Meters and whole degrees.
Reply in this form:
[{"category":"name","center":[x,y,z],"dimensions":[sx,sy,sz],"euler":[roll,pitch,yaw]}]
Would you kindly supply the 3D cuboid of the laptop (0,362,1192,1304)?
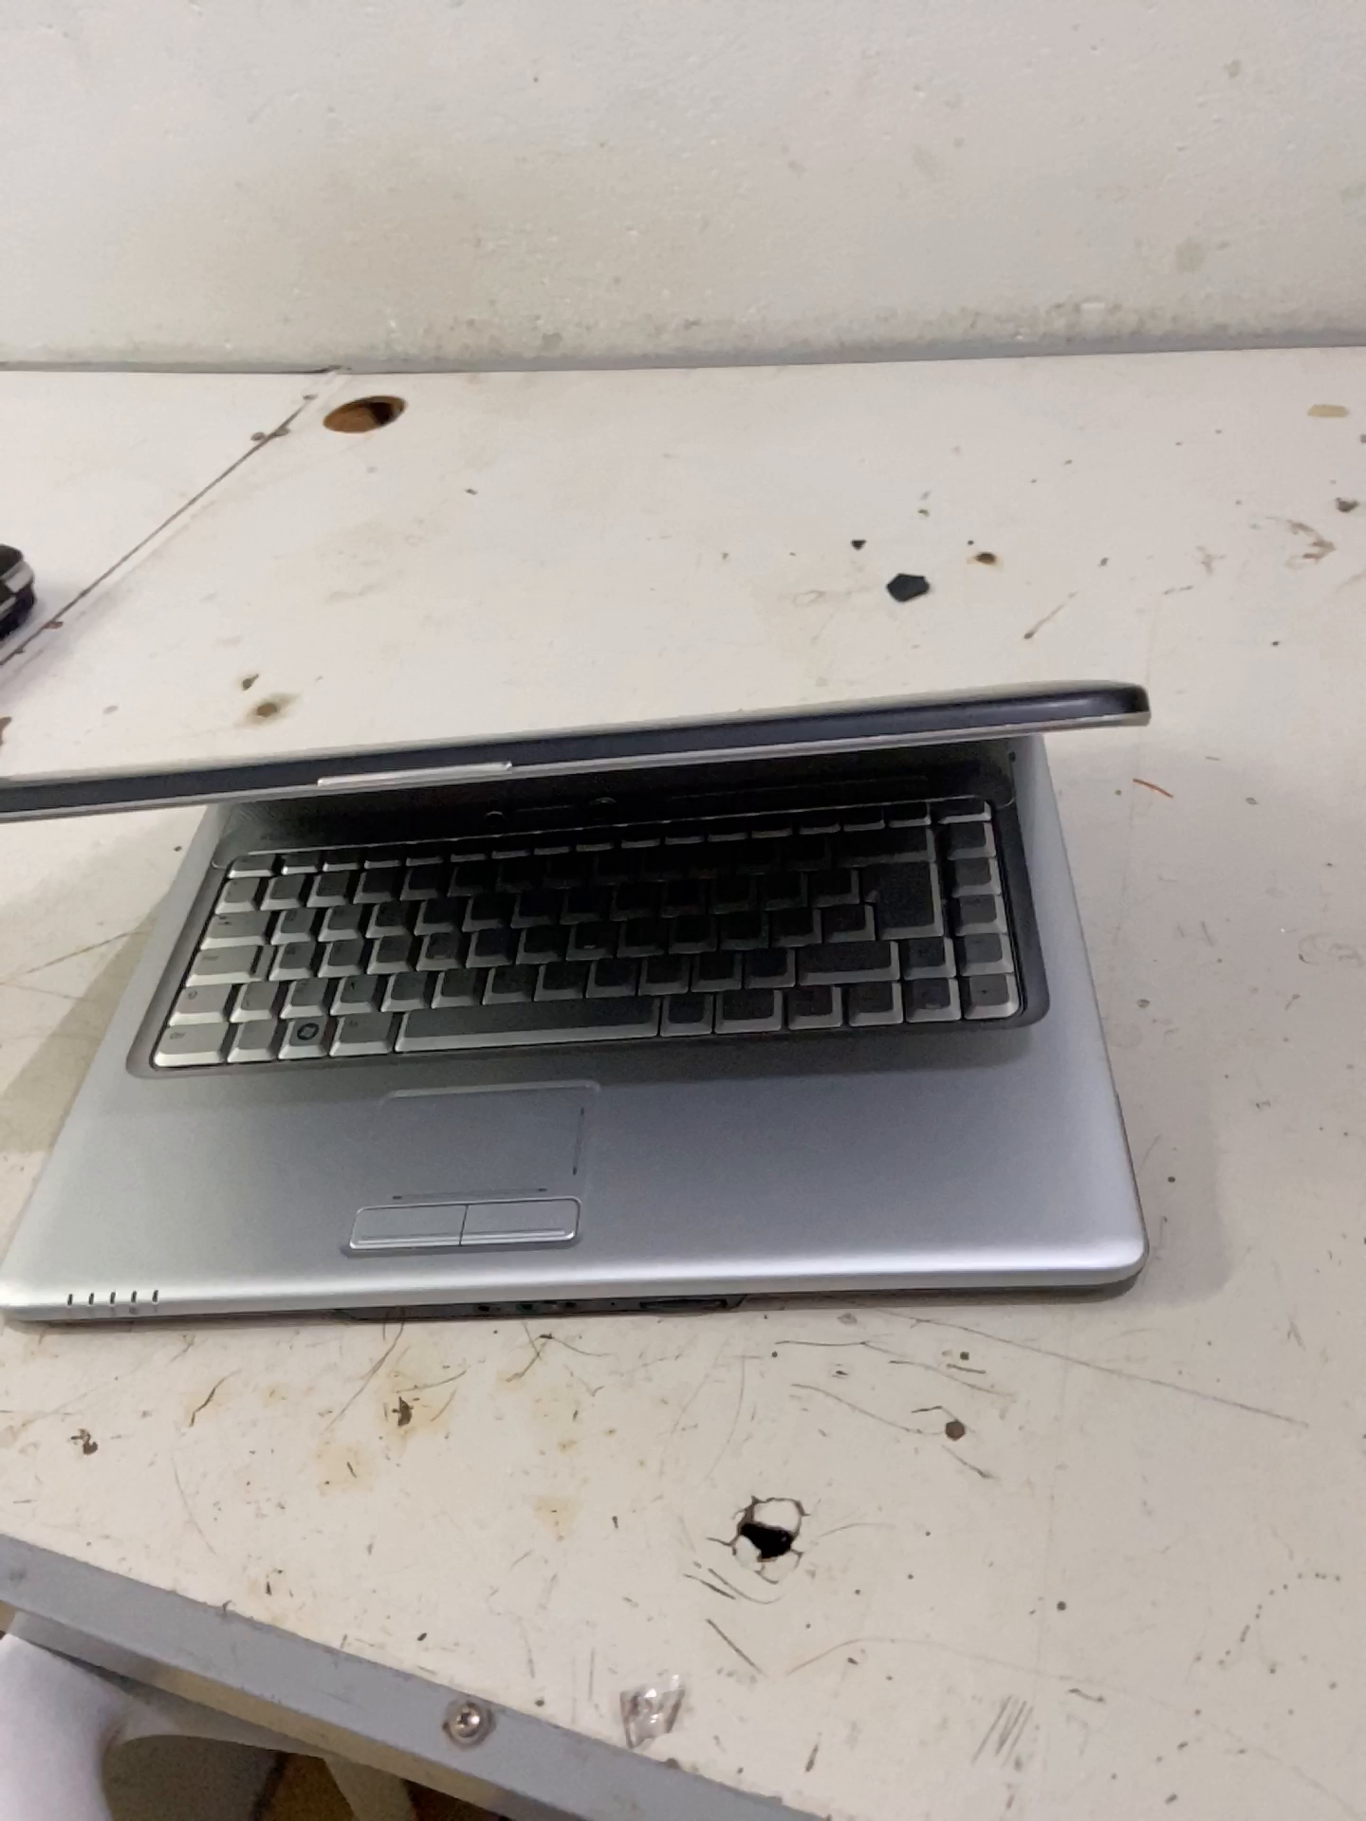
[{"category":"laptop","center":[-0.049,-0.028,0.446],"dimensions":[0.347,0.145,0.239],"euler":[-4,44,8]}]
